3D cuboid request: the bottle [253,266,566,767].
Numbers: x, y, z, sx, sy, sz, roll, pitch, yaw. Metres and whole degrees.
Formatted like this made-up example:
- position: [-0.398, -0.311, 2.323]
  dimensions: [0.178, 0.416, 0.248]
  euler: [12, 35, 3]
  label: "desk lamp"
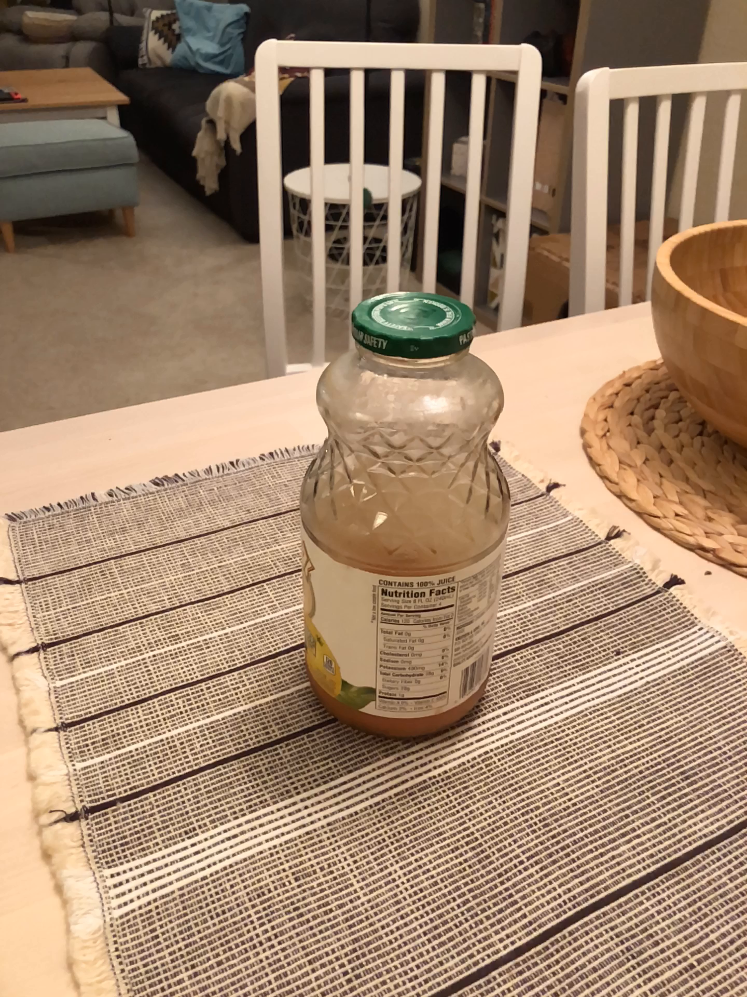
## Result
- position: [0.017, 0.008, 0.377]
  dimensions: [0.100, 0.189, 0.101]
  euler: [1, 34, -1]
  label: "bottle"
